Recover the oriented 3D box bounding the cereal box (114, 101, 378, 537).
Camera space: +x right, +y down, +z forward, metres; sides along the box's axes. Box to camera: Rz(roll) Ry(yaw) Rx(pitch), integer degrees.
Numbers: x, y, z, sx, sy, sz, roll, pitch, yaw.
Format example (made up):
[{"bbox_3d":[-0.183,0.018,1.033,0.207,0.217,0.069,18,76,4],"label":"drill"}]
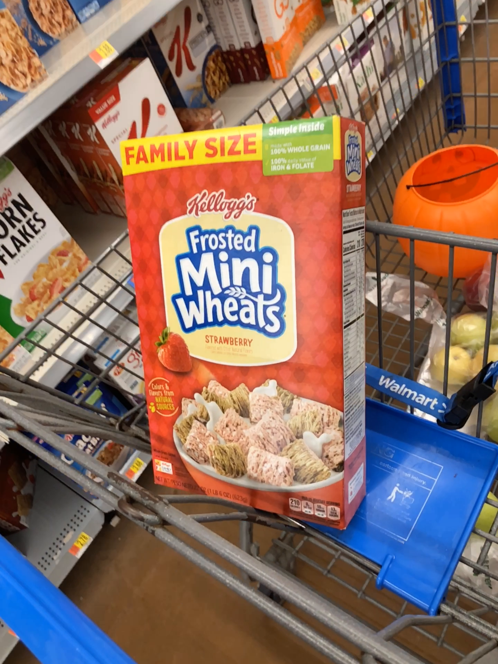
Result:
[{"bbox_3d":[0.001,-0.009,0.473,0.201,0.320,0.070,4,14,29],"label":"cereal box"}]
